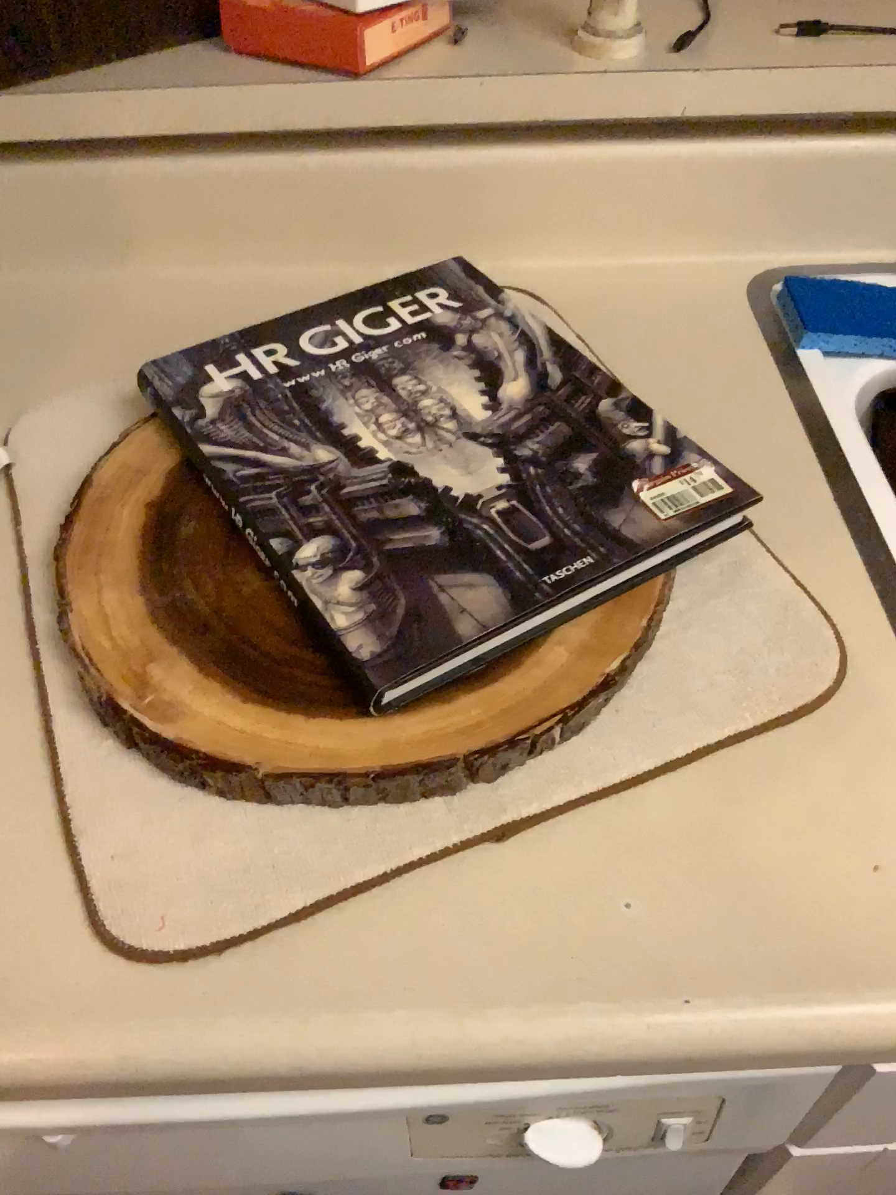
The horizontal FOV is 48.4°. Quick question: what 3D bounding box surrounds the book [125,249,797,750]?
[{"bbox_3d":[-0.007,-0.093,0.615,0.270,0.030,0.330,-26,53,-21],"label":"book"}]
